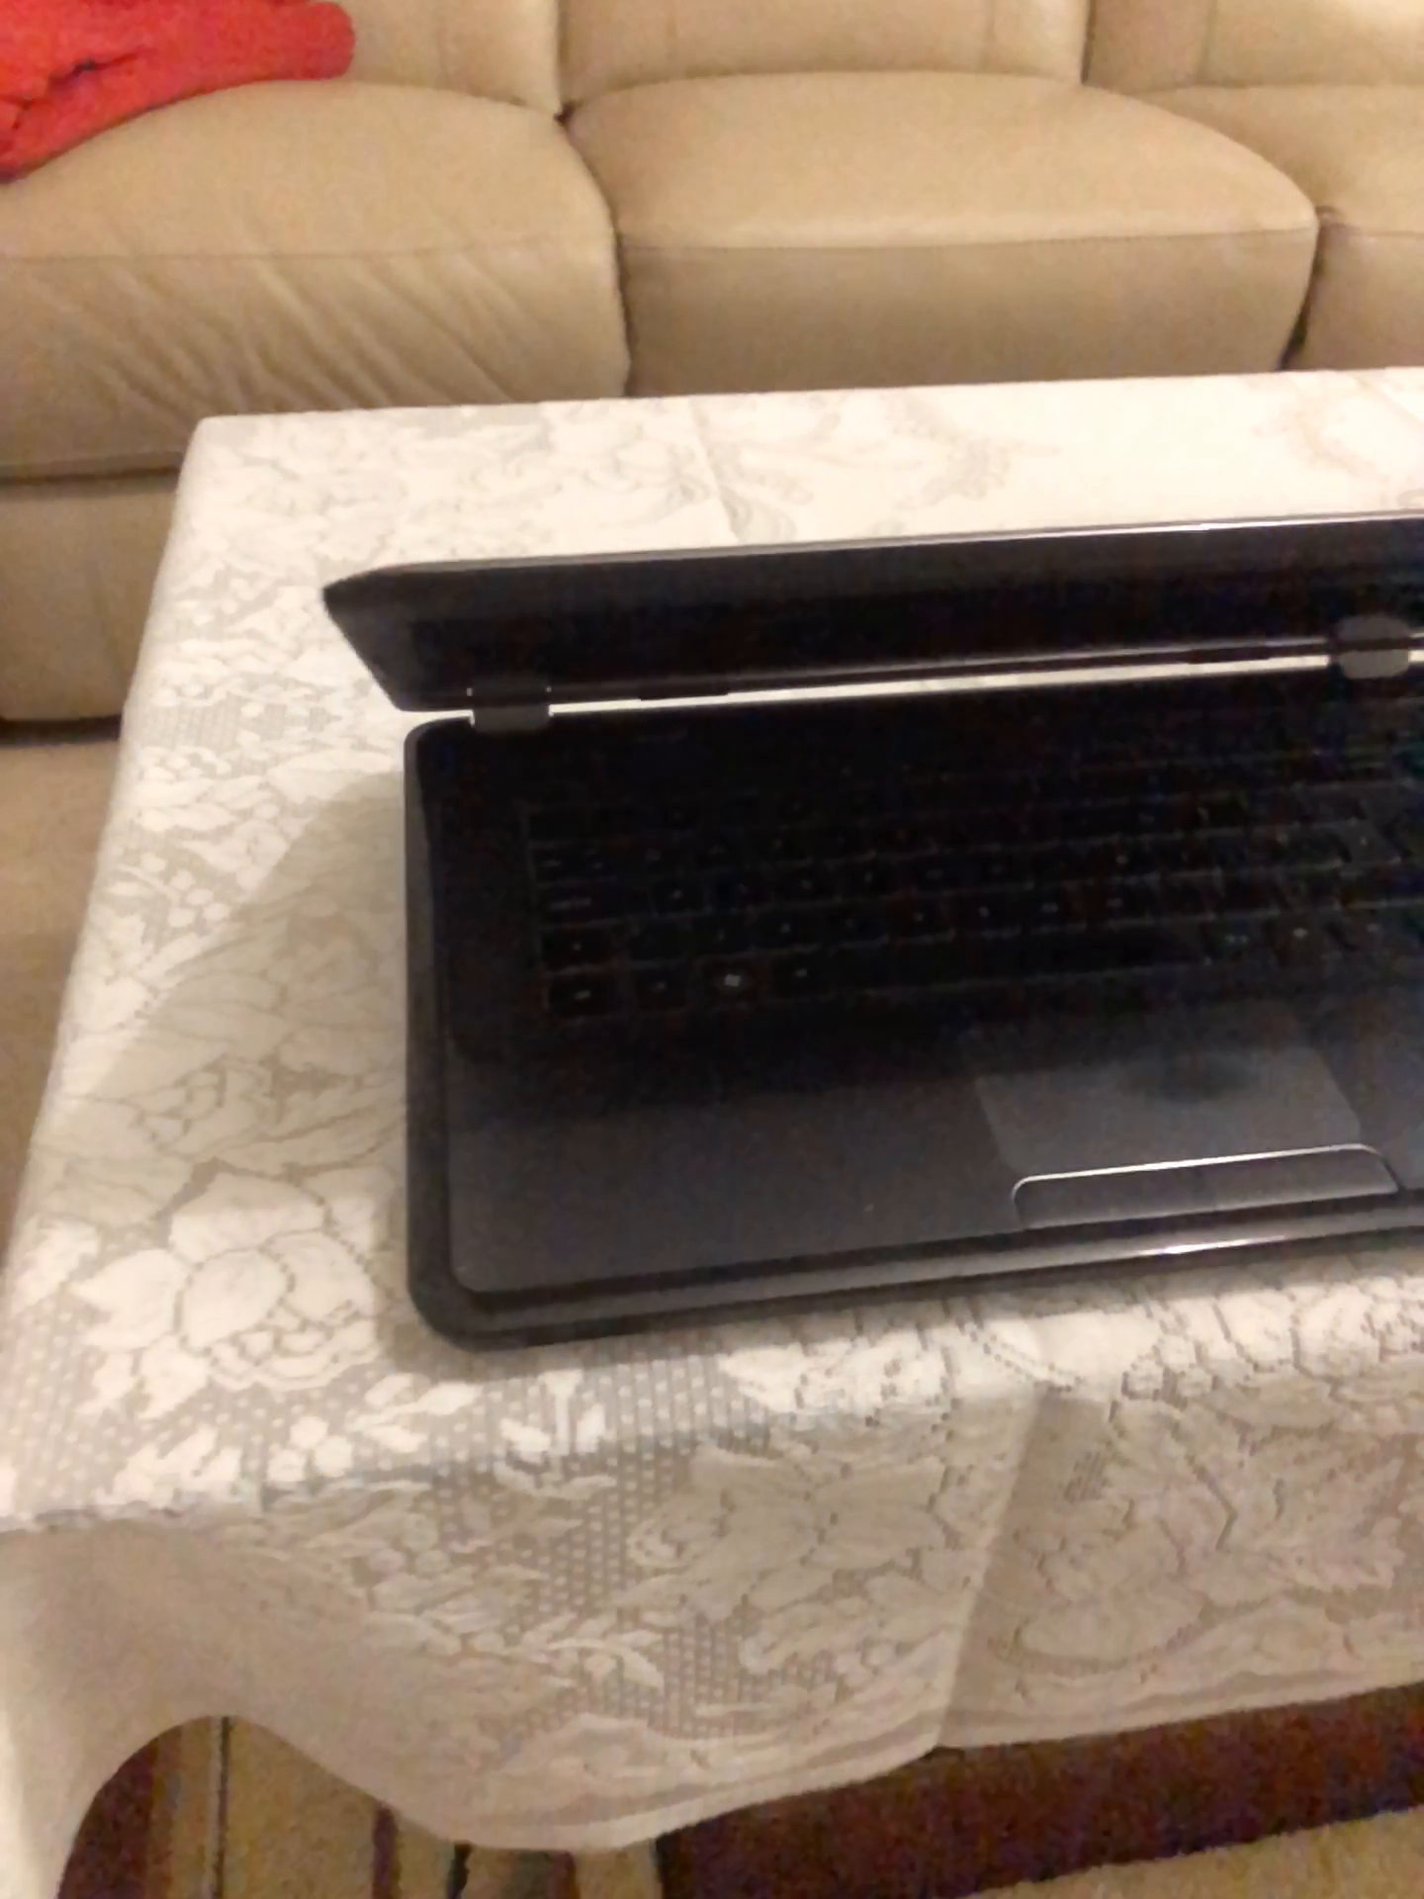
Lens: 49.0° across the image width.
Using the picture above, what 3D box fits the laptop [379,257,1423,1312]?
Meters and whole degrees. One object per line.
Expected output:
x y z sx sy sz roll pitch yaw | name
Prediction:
0.102 -0.066 0.414 0.360 0.139 0.239 -5 41 -7 | laptop
